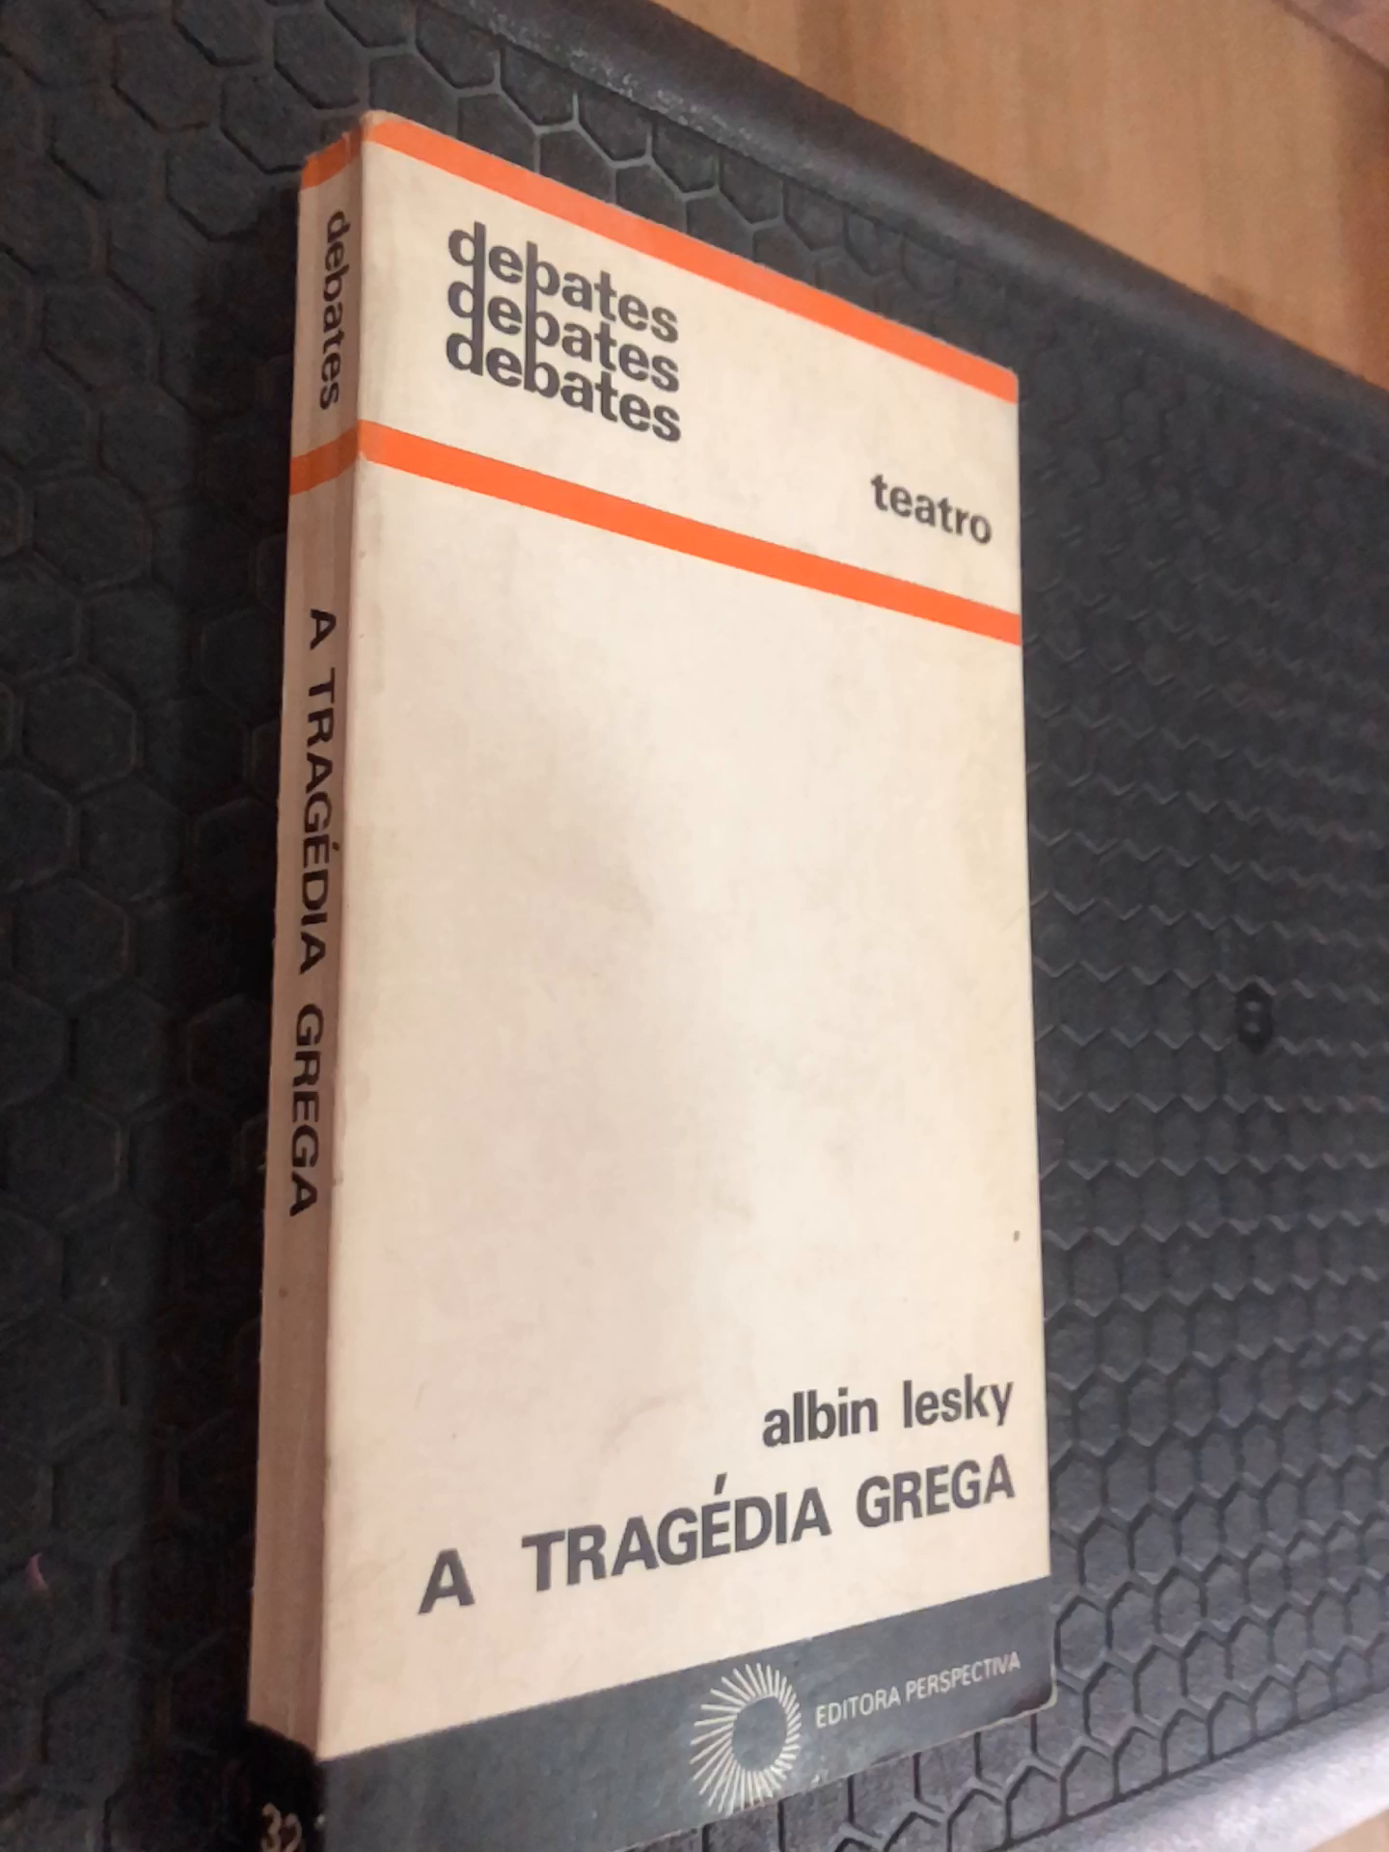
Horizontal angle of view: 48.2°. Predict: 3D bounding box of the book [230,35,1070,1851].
[{"bbox_3d":[0.002,0.006,0.207,0.114,0.020,0.207,6,80,-37],"label":"book"}]
